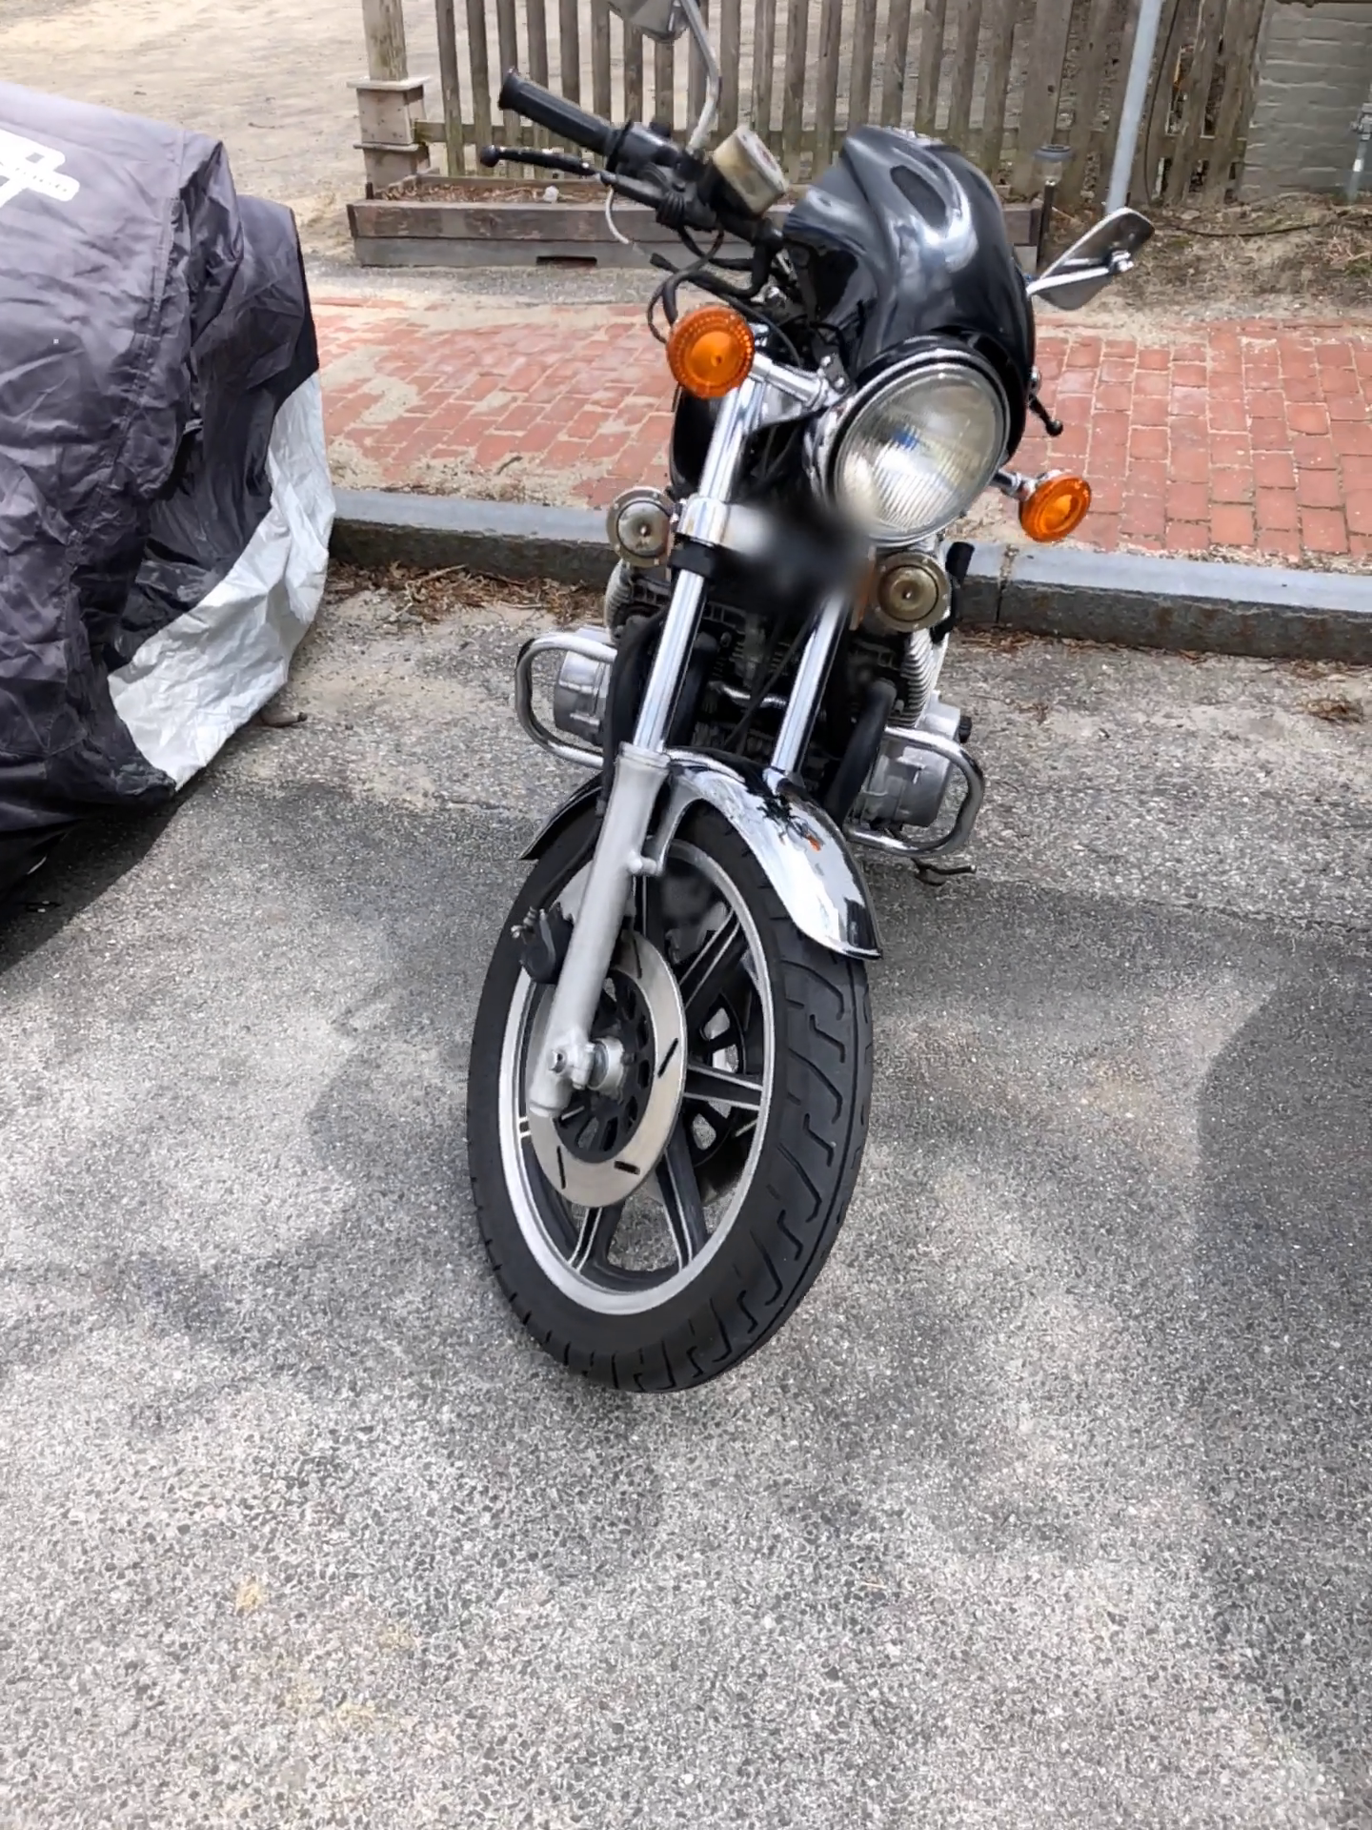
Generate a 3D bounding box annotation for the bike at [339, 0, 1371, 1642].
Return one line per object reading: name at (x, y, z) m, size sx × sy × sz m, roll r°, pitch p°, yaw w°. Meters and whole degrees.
bike at (0.267, -0.413, 1.944) m, size 0.708 × 1.157 × 1.981 m, roll 5°, pitch 38°, yaw 6°
